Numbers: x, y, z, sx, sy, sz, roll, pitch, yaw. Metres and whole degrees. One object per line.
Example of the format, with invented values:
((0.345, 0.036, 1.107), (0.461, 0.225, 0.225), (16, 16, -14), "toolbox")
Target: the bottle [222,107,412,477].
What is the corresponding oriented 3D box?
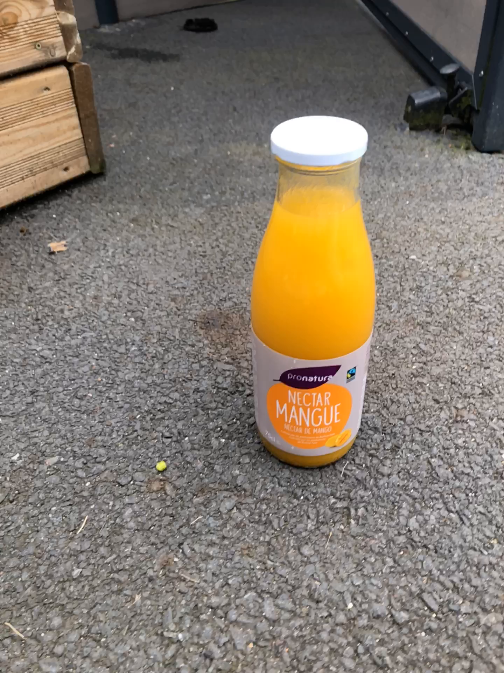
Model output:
((0.035, -0.016, 0.333), (0.080, 0.209, 0.081), (-2, 39, 2), "bottle")
